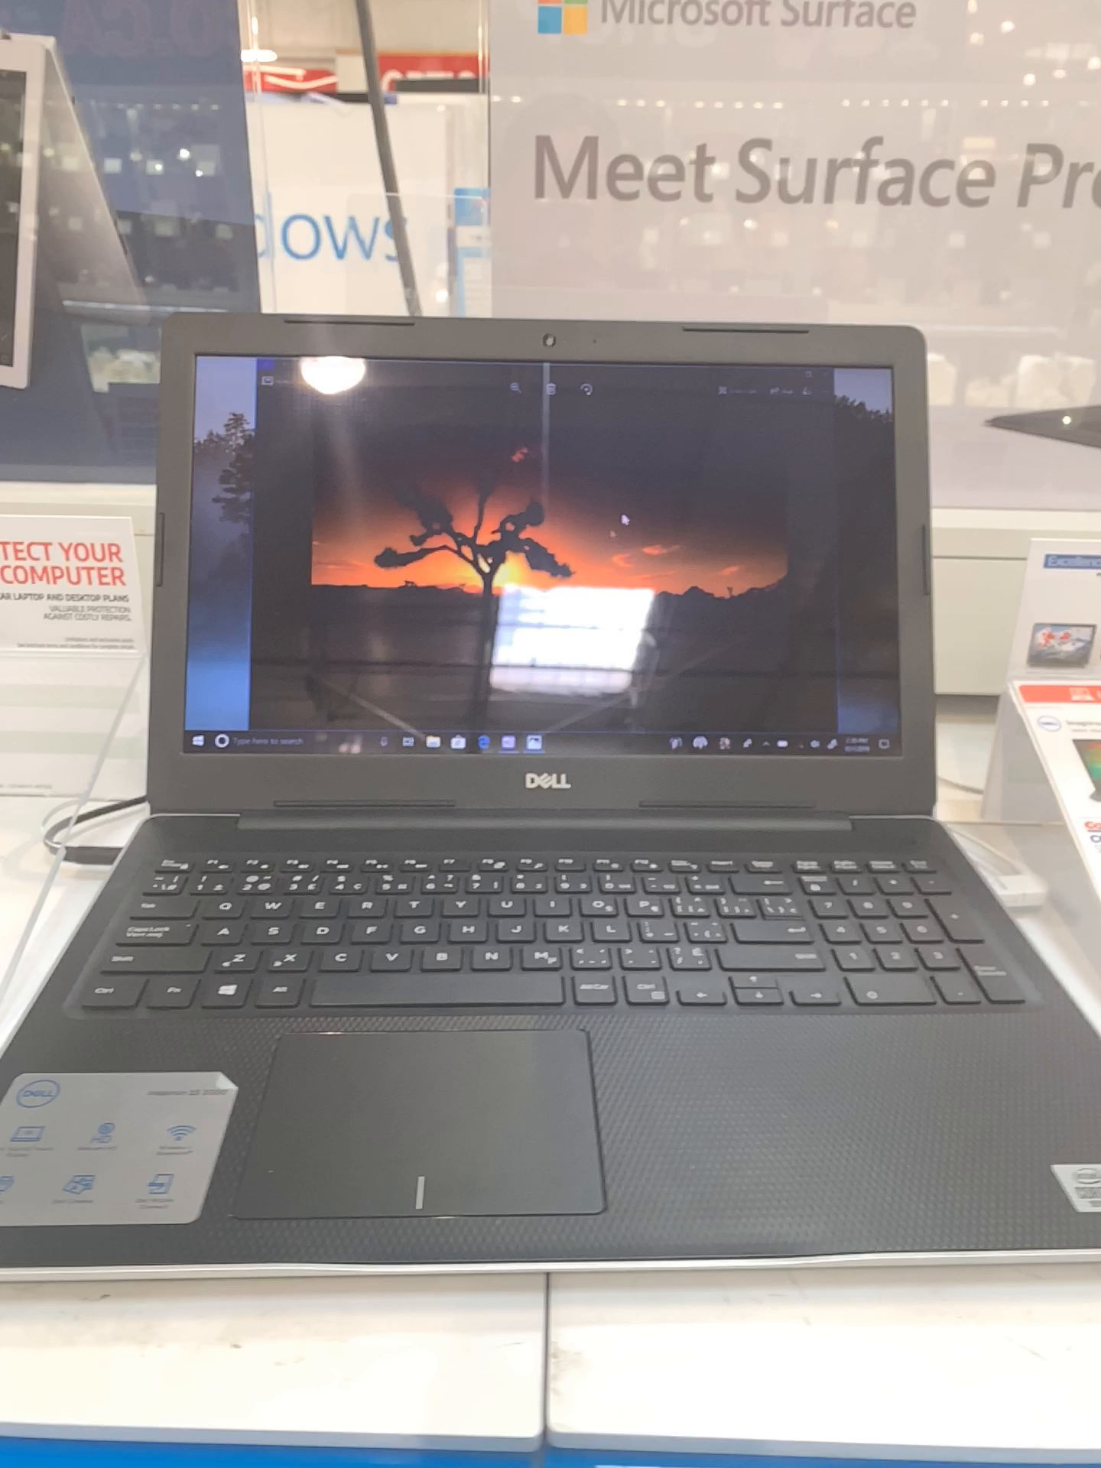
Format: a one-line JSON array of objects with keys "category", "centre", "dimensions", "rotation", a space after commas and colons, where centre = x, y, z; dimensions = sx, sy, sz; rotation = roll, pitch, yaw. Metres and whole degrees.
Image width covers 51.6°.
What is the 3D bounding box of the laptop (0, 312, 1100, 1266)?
[{"category": "laptop", "centre": [0.001, -0.027, 0.412], "dimensions": [0.357, 0.205, 0.343], "rotation": [1, 23, -4]}]
